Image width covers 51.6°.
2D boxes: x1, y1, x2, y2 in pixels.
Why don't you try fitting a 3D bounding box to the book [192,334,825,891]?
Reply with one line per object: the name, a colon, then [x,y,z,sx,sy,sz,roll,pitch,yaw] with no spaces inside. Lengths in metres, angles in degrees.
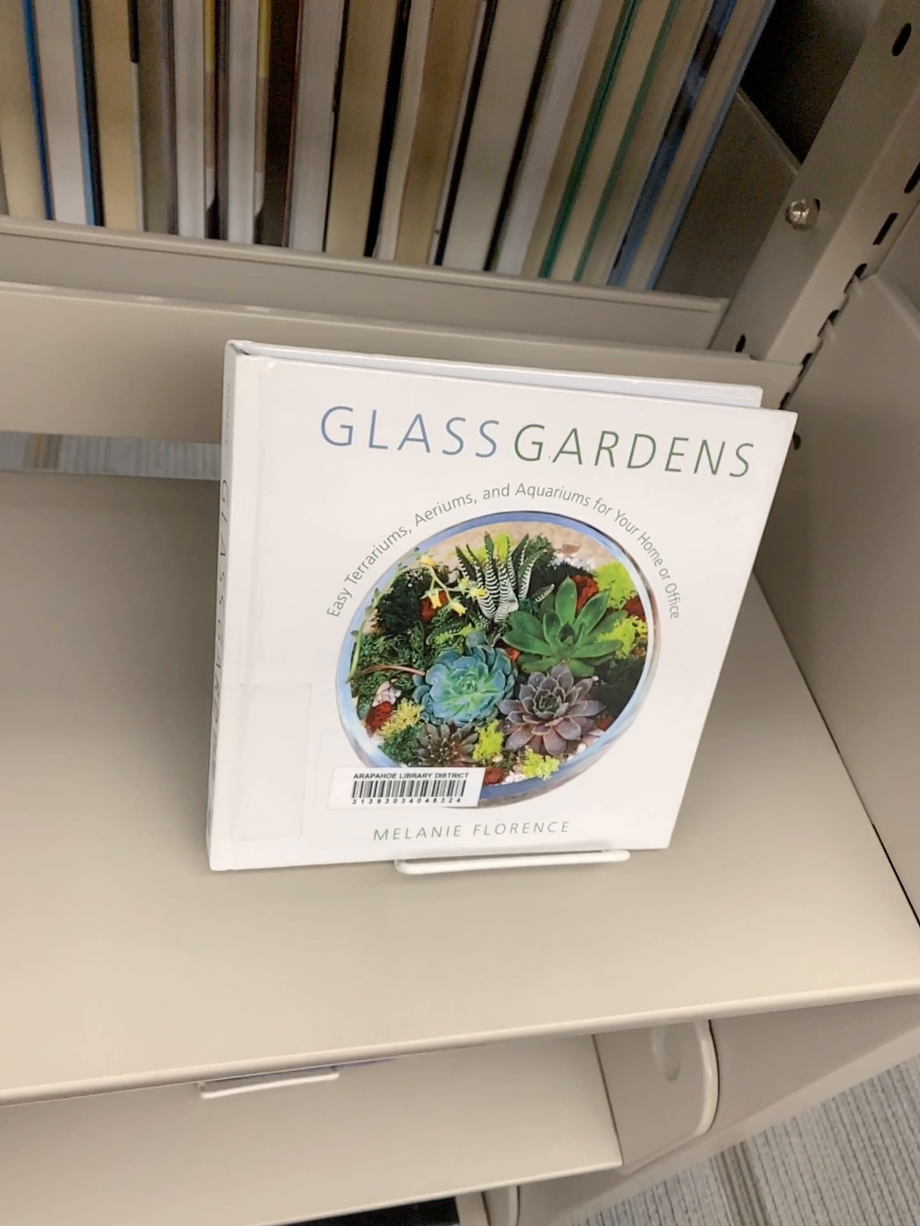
book: [0.008,0.009,0.314,0.180,0.174,0.030,2,26,-16]
